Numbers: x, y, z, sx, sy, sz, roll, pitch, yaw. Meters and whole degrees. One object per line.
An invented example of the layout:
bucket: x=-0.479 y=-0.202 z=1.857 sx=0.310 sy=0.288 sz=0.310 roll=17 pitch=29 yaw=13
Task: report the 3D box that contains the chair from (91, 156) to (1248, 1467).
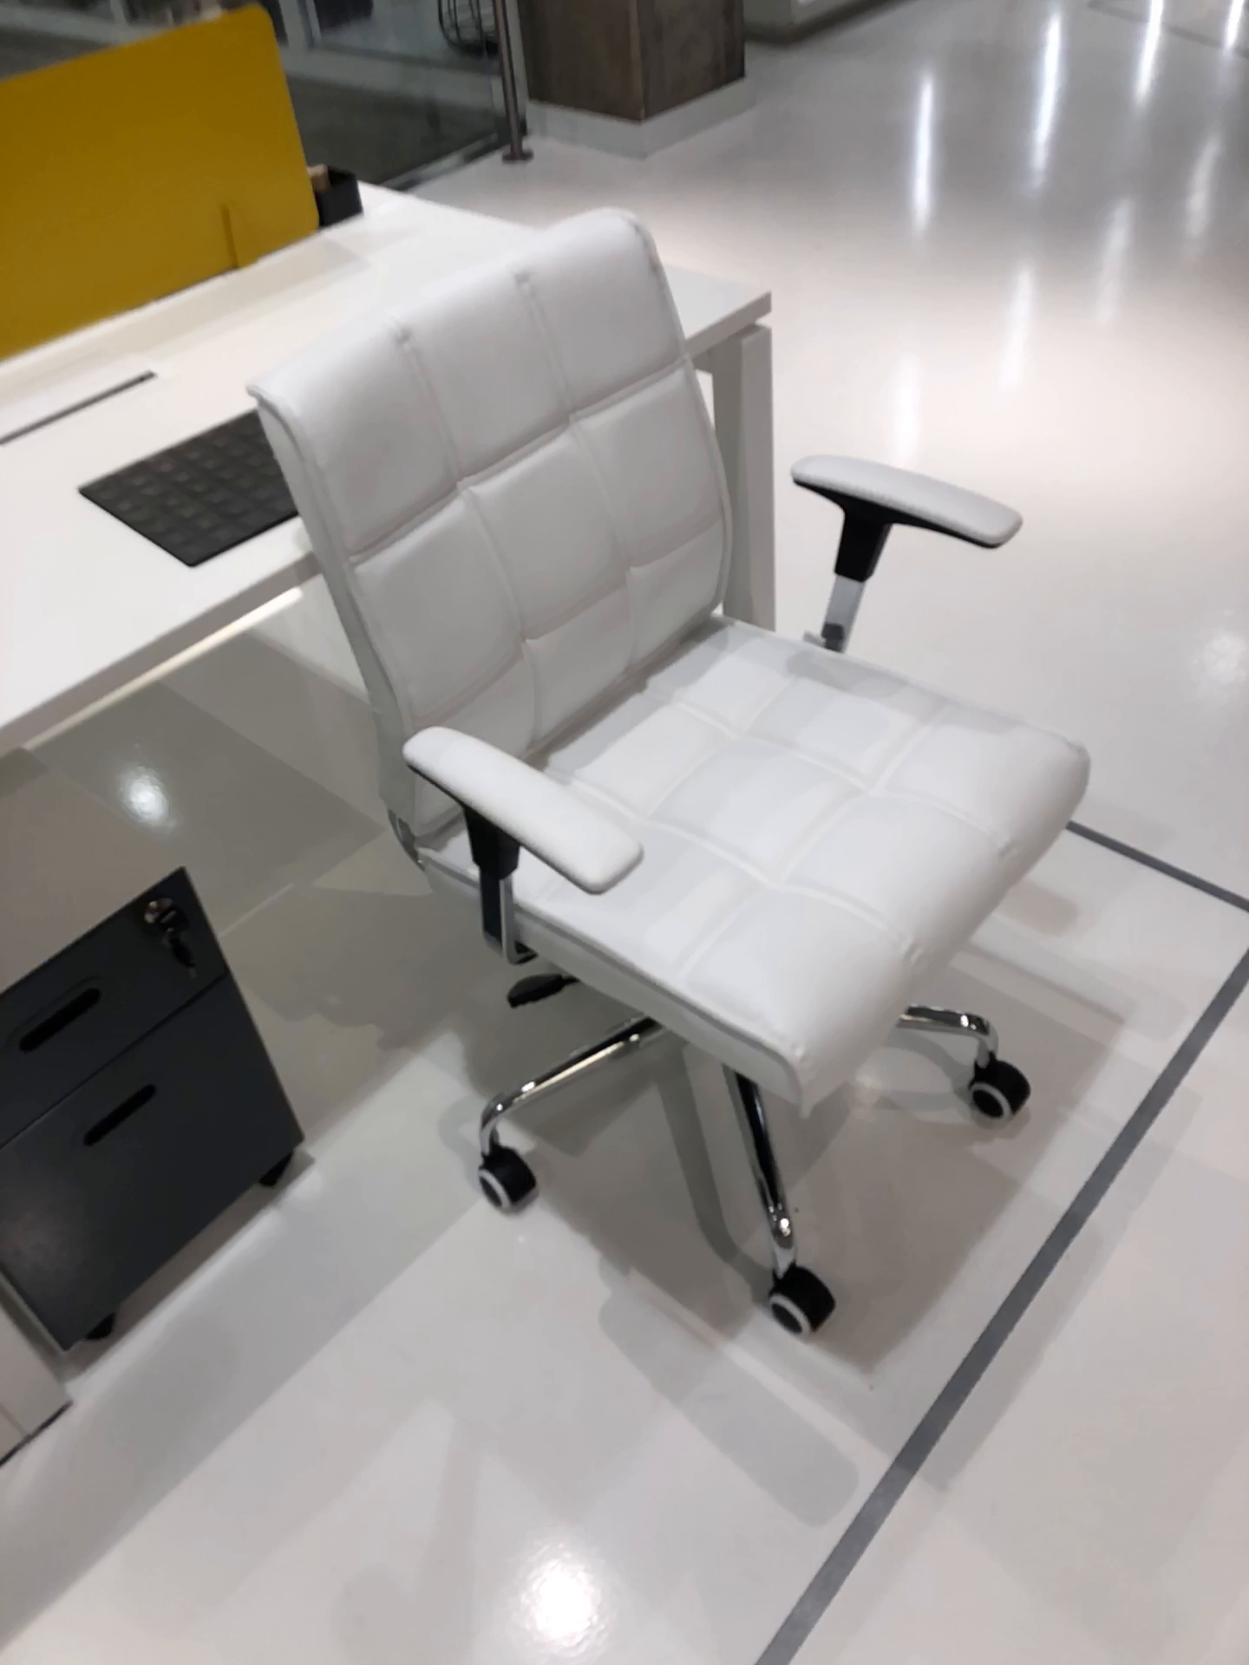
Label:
chair: x=0.098 y=-0.038 z=1.306 sx=0.632 sy=0.883 sz=0.653 roll=26 pitch=52 yaw=30
